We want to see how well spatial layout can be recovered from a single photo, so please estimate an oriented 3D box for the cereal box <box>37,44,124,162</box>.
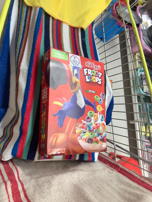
[{"bbox_3d":[0.019,0.011,0.402,0.211,0.060,0.250,7,76,-31],"label":"cereal box"}]
